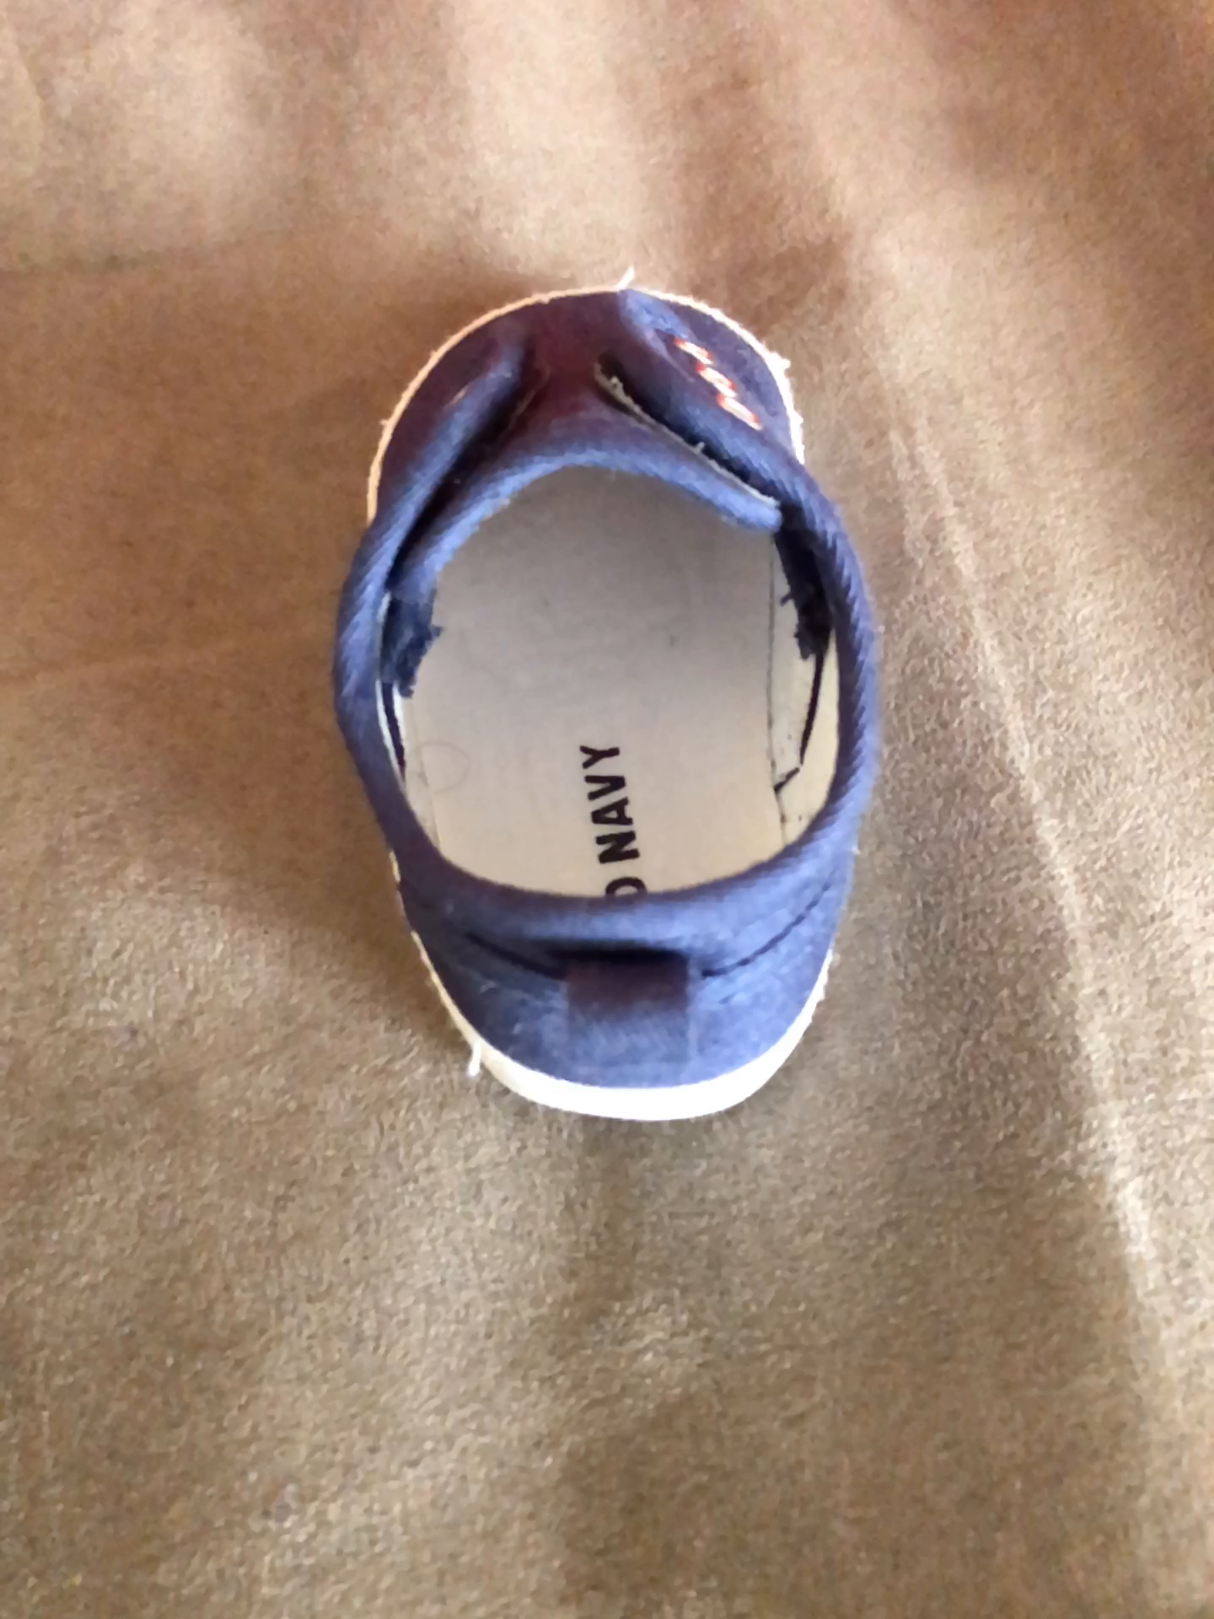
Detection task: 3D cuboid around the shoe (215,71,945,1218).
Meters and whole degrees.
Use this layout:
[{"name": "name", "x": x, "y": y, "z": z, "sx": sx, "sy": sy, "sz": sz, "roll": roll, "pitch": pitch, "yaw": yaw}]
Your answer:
[{"name": "shoe", "x": -0.004, "y": -0.014, "z": 0.160, "sx": 0.060, "sy": 0.060, "sz": 0.110, "roll": -9, "pitch": 69, "yaw": 5}]
